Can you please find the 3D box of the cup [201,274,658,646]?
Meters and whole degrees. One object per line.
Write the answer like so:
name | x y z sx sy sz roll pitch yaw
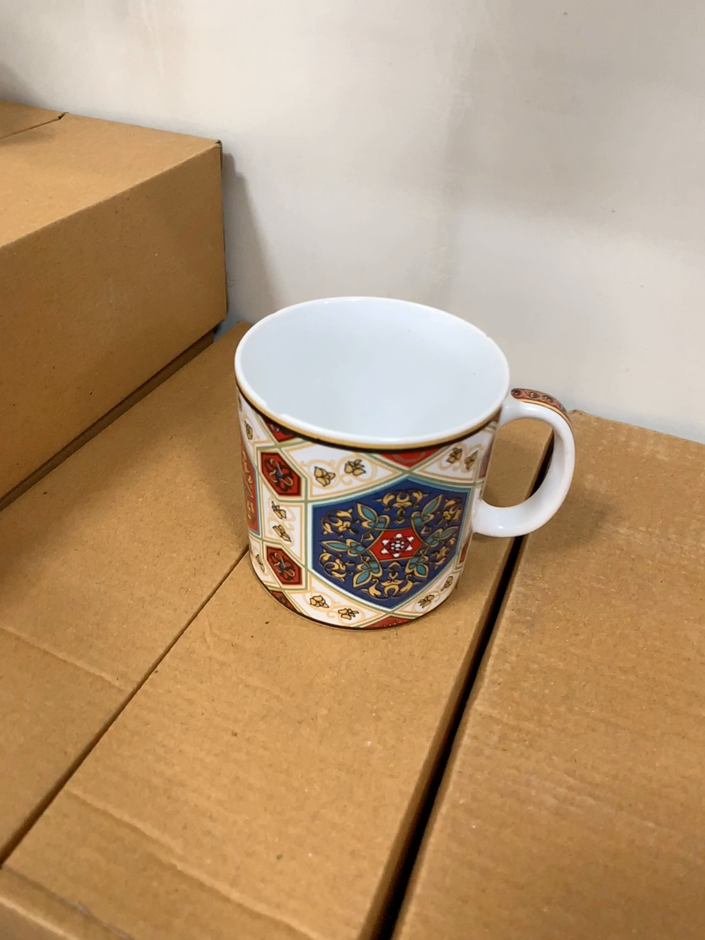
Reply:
cup | 0.013 -0.004 0.211 0.100 0.069 0.081 1 40 -5
